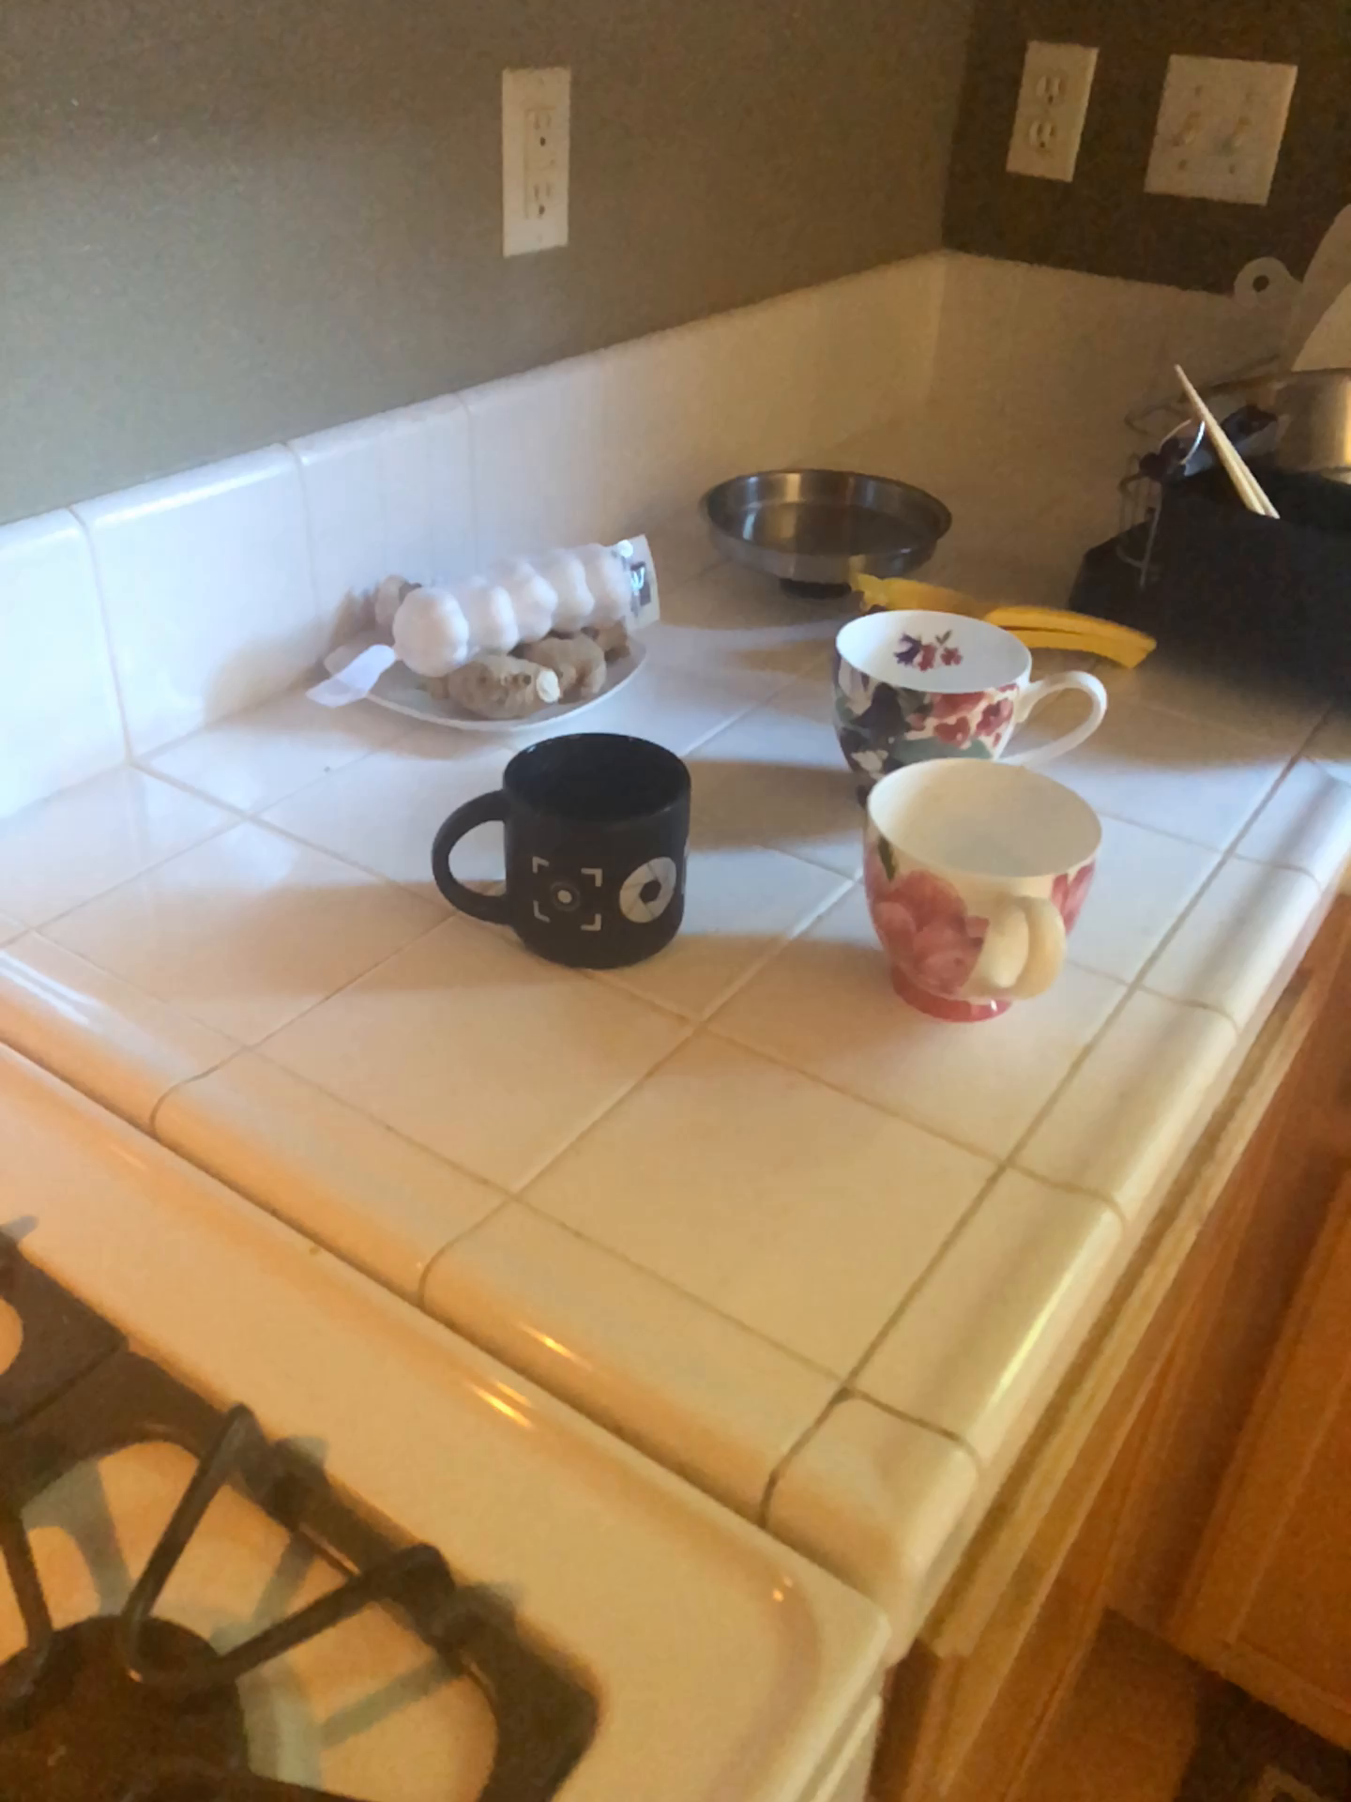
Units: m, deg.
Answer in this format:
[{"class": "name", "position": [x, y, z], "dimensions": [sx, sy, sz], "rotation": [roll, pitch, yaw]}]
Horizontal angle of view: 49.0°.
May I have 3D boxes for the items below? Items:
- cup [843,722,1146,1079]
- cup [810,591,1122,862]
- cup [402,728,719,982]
[{"class": "cup", "position": [0.137, -0.006, 0.669], "dimensions": [0.110, 0.079, 0.151], "rotation": [6, 34, 4]}, {"class": "cup", "position": [0.165, -0.102, 0.838], "dimensions": [0.150, 0.089, 0.111], "rotation": [11, 35, 12]}, {"class": "cup", "position": [-0.052, -0.024, 0.722], "dimensions": [0.140, 0.069, 0.111], "rotation": [2, 34, -2]}]
